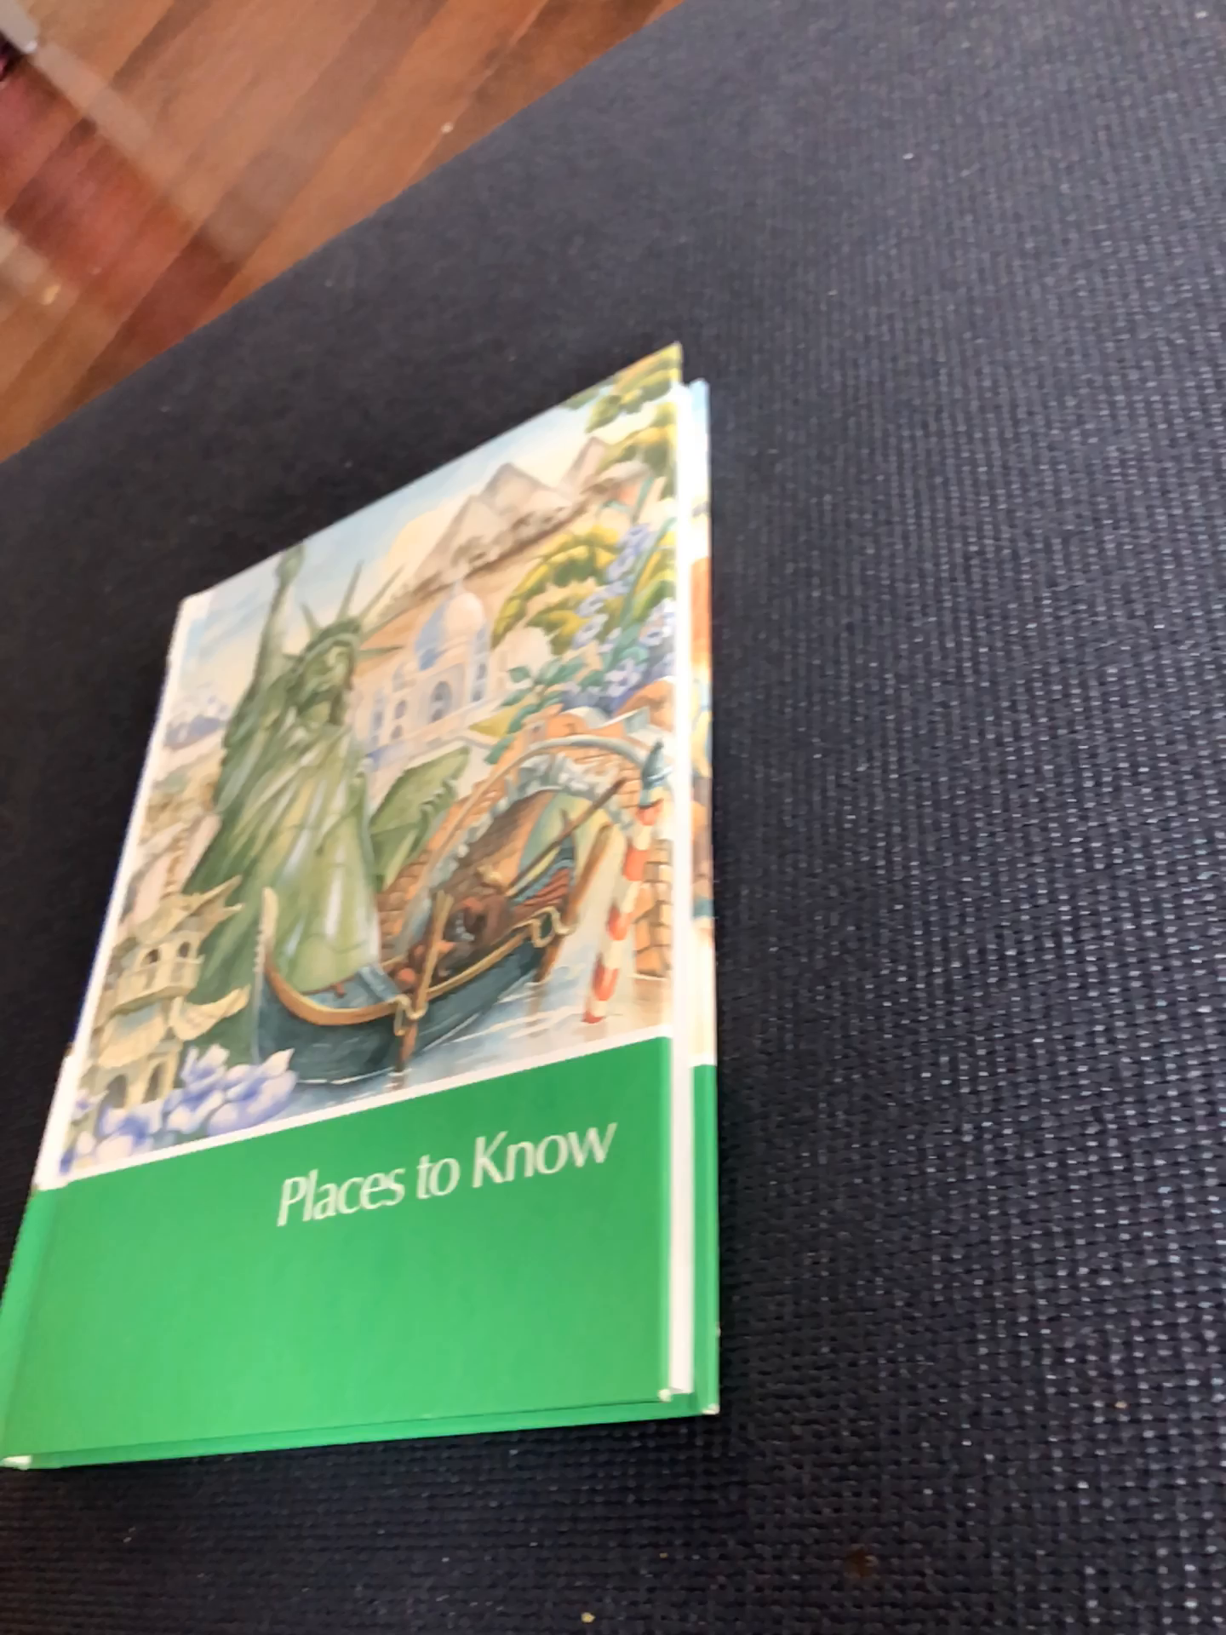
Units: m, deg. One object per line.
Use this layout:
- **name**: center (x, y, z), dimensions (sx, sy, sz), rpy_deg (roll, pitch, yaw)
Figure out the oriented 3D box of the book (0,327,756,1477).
- **book**: center (-0.060, 0.015, 0.331), dimensions (0.191, 0.030, 0.250), rpy_deg (-18, 52, 28)
